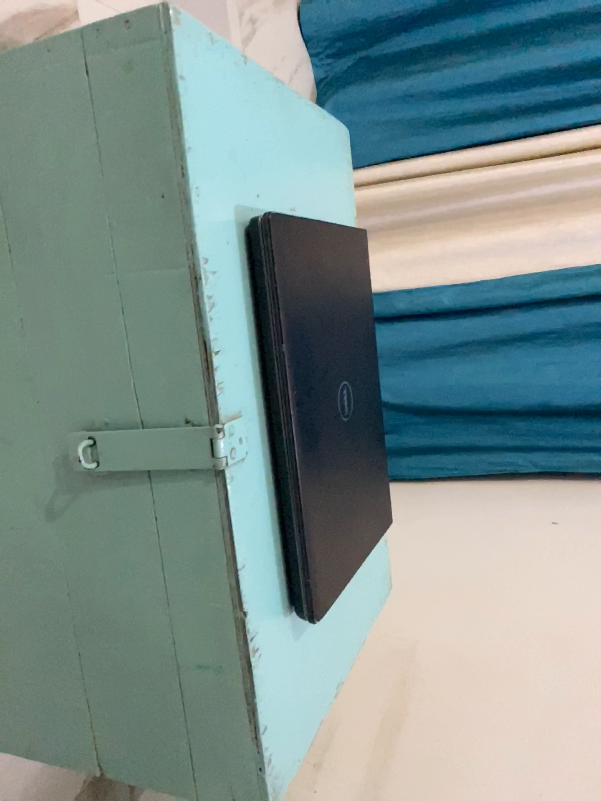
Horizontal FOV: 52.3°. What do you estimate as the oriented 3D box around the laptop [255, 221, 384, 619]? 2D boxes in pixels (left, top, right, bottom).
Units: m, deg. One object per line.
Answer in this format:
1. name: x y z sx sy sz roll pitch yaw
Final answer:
1. laptop: 0.038 0.001 0.701 0.270 0.004 0.384 -23 109 -63
